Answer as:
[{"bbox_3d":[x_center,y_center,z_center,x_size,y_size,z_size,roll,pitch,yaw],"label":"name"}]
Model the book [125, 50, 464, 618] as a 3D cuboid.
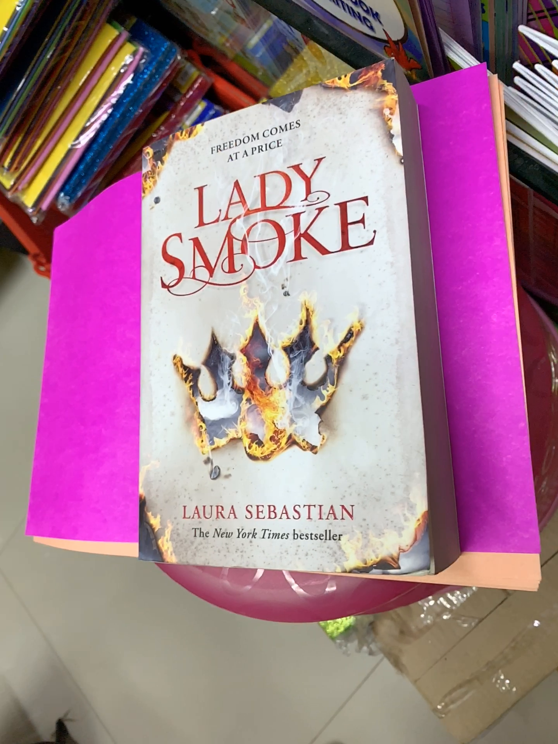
[{"bbox_3d":[0.002,-0.012,0.251,0.130,0.050,0.200,-5,83,24],"label":"book"}]
